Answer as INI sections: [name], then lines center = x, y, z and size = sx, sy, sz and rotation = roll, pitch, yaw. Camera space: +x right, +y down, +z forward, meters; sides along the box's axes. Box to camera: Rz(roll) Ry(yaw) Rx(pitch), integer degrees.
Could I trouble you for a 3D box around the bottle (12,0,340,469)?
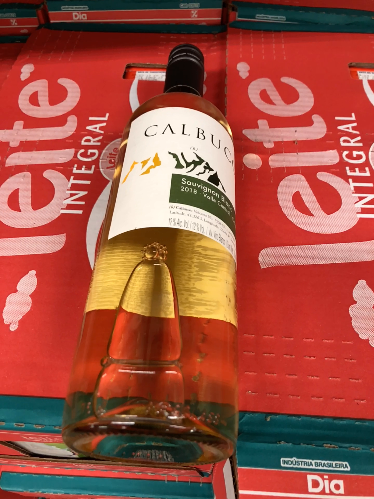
[bottle]
center = -0.003, -0.042, 0.244
size = 0.090, 0.100, 0.291
rotation = 22, 53, -26
